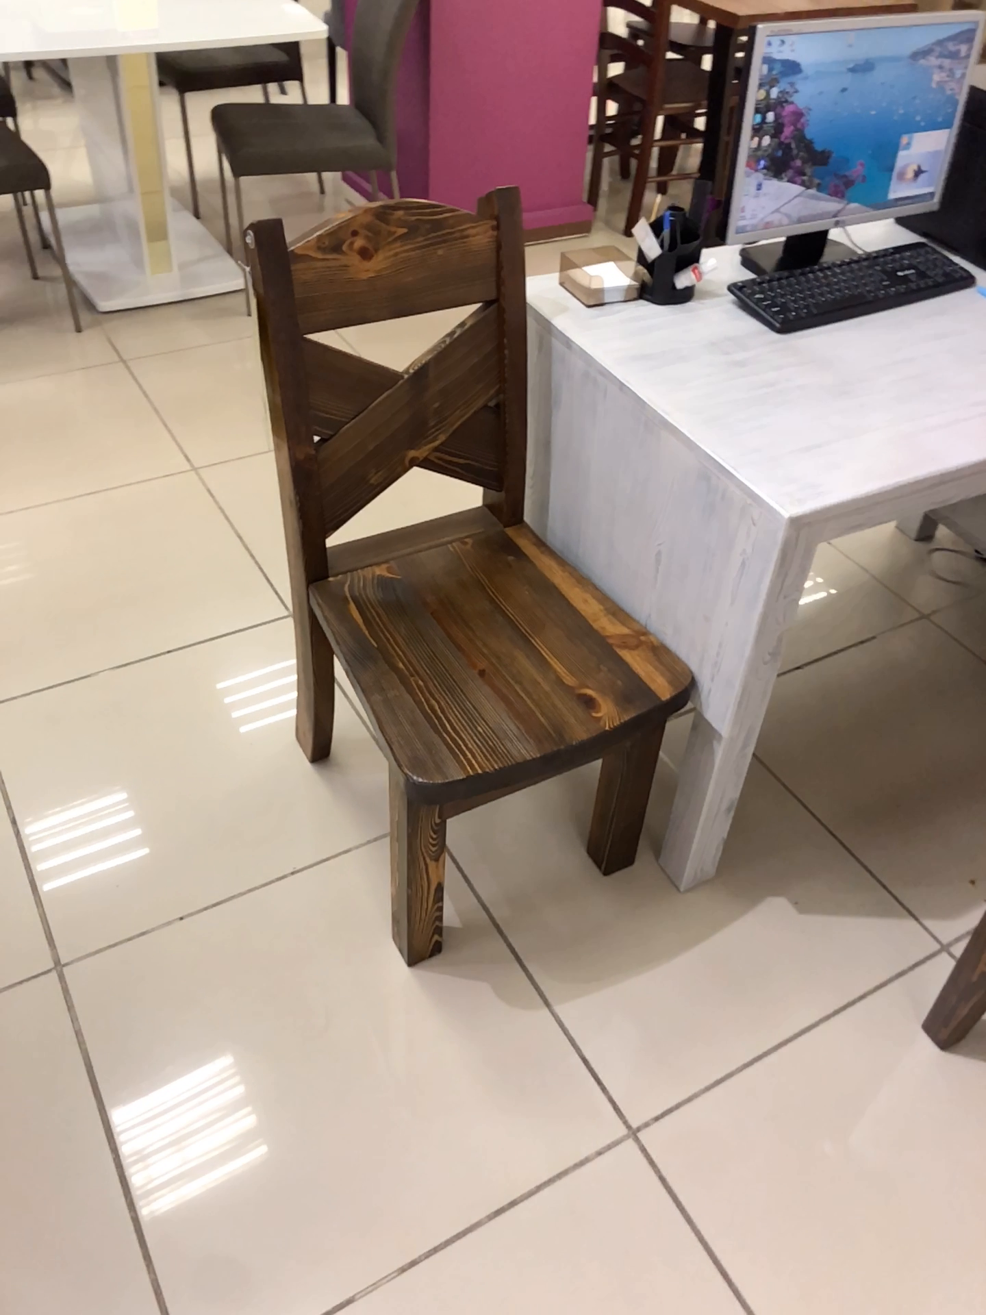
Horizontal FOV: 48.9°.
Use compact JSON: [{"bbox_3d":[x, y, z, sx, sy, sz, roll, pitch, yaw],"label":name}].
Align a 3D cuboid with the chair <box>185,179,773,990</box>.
[{"bbox_3d":[-0.064,-0.096,1.536,0.451,0.895,0.572,-19,46,-24],"label":"chair"}]
